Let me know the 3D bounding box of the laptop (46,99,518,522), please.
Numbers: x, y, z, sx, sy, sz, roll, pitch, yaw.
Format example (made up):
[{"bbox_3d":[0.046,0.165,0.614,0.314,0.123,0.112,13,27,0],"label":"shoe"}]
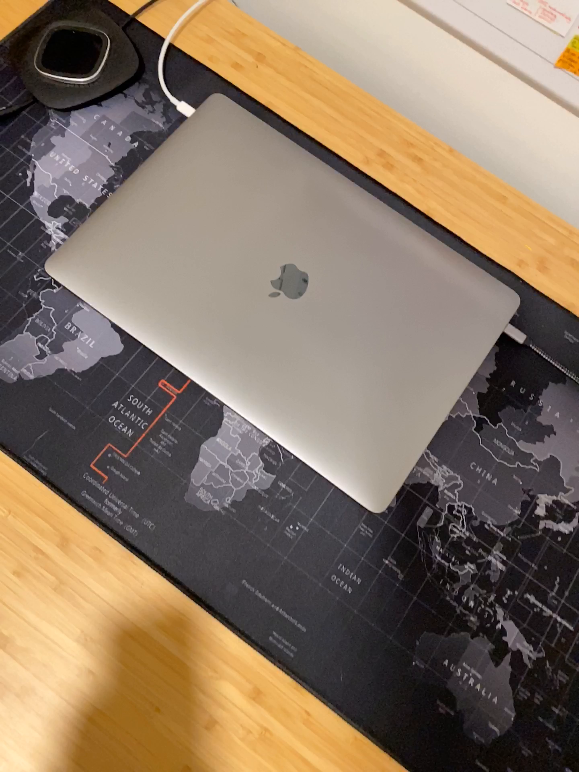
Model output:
[{"bbox_3d":[-0.002,-0.082,0.501,0.336,0.002,0.226,36,74,7],"label":"laptop"}]
